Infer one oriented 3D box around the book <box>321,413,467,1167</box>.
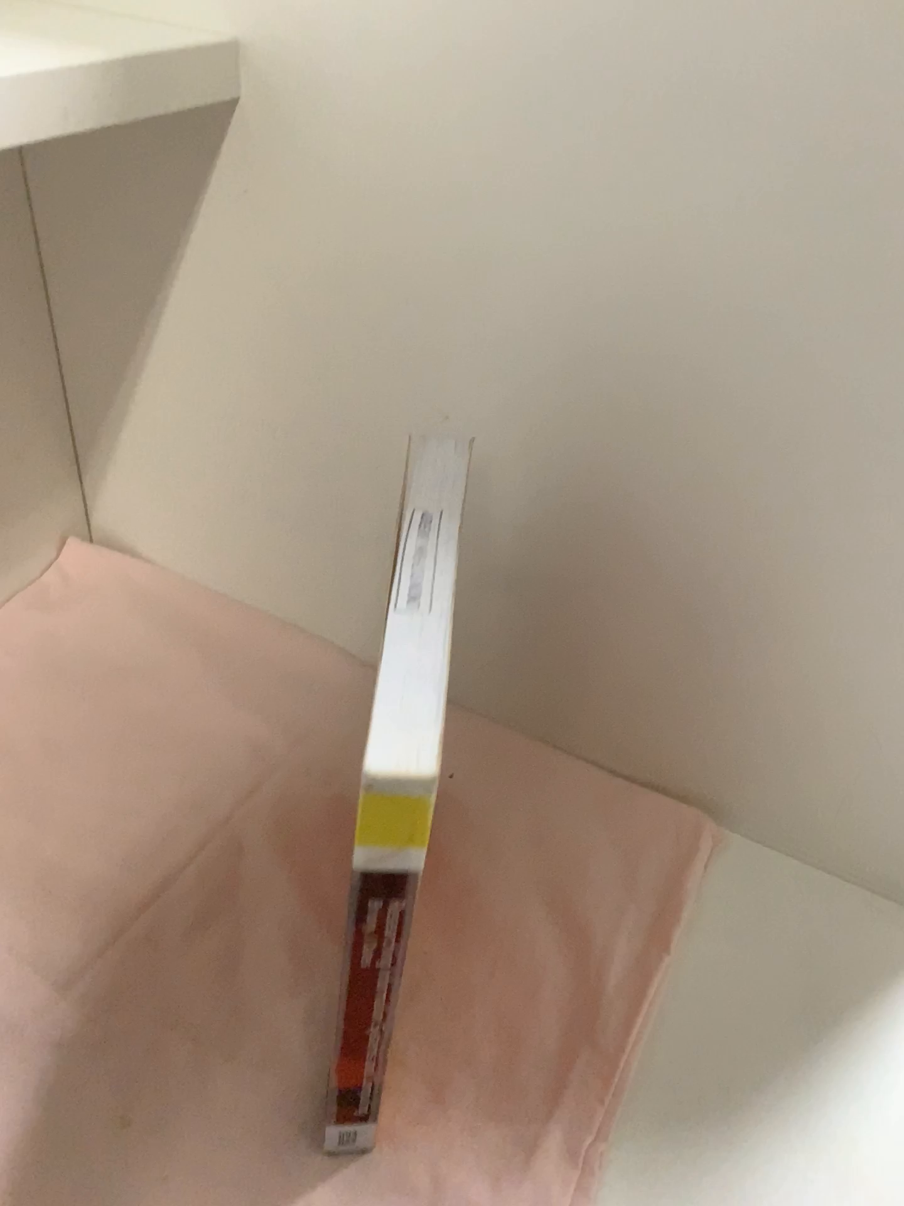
[{"bbox_3d":[-0.024,0.076,0.391,0.026,0.238,0.203,7,38,-2],"label":"book"}]
